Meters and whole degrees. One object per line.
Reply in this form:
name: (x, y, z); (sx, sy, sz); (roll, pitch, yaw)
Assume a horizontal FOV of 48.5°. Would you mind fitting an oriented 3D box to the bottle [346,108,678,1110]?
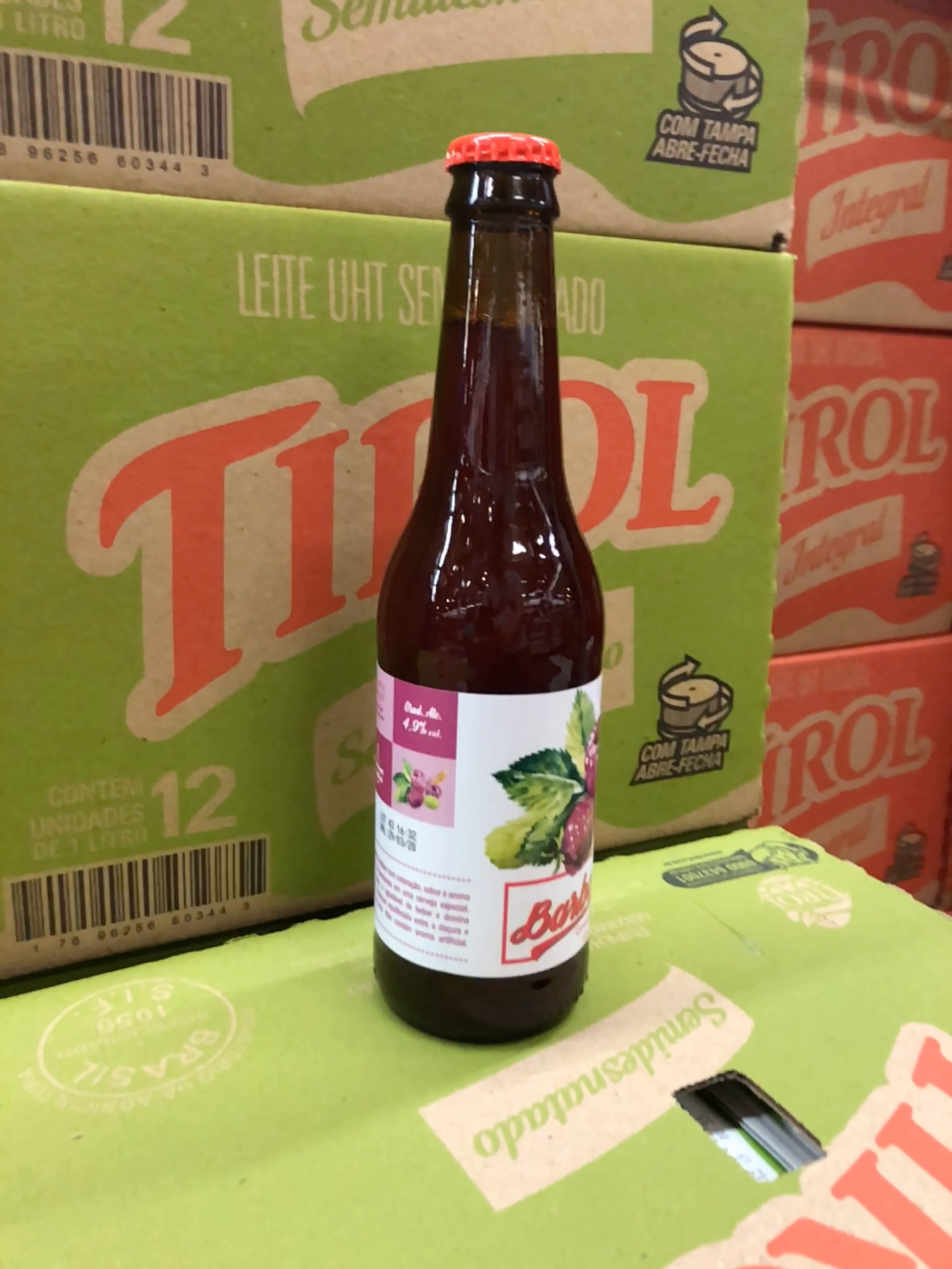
bottle: (0.009, -0.005, 0.278); (0.060, 0.229, 0.070); (6, 13, 16)
